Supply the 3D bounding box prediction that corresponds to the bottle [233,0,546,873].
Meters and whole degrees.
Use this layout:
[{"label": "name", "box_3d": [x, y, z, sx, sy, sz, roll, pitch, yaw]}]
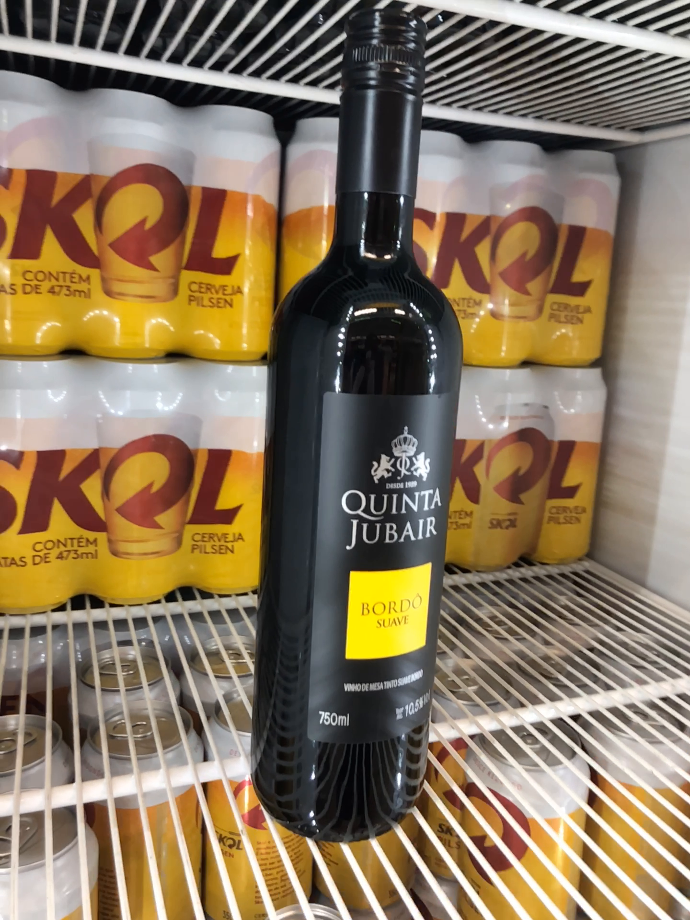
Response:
[{"label": "bottle", "box_3d": [0.008, -0.010, 0.282, 0.080, 0.289, 0.070, -3, 12, -23]}]
